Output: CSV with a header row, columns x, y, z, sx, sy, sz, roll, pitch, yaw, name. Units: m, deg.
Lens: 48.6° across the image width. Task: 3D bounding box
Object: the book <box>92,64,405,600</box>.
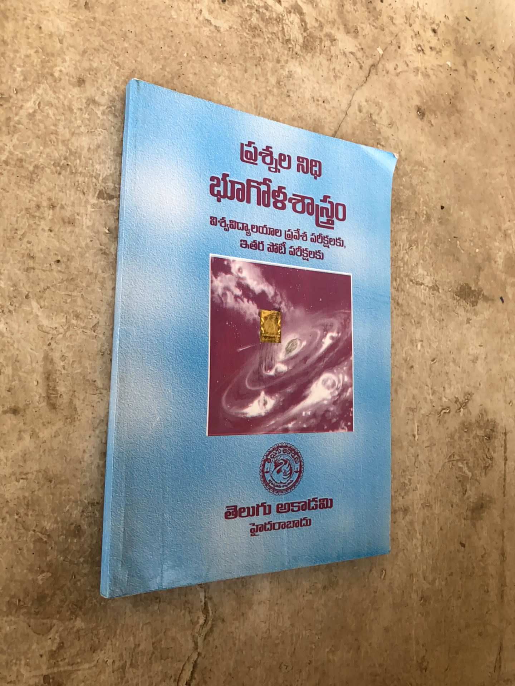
x,y,z,sx,sy,sz,roll,pitch,yaw,name
0.003,-0.006,0.350,0.191,0.040,0.270,3,84,-30,book
